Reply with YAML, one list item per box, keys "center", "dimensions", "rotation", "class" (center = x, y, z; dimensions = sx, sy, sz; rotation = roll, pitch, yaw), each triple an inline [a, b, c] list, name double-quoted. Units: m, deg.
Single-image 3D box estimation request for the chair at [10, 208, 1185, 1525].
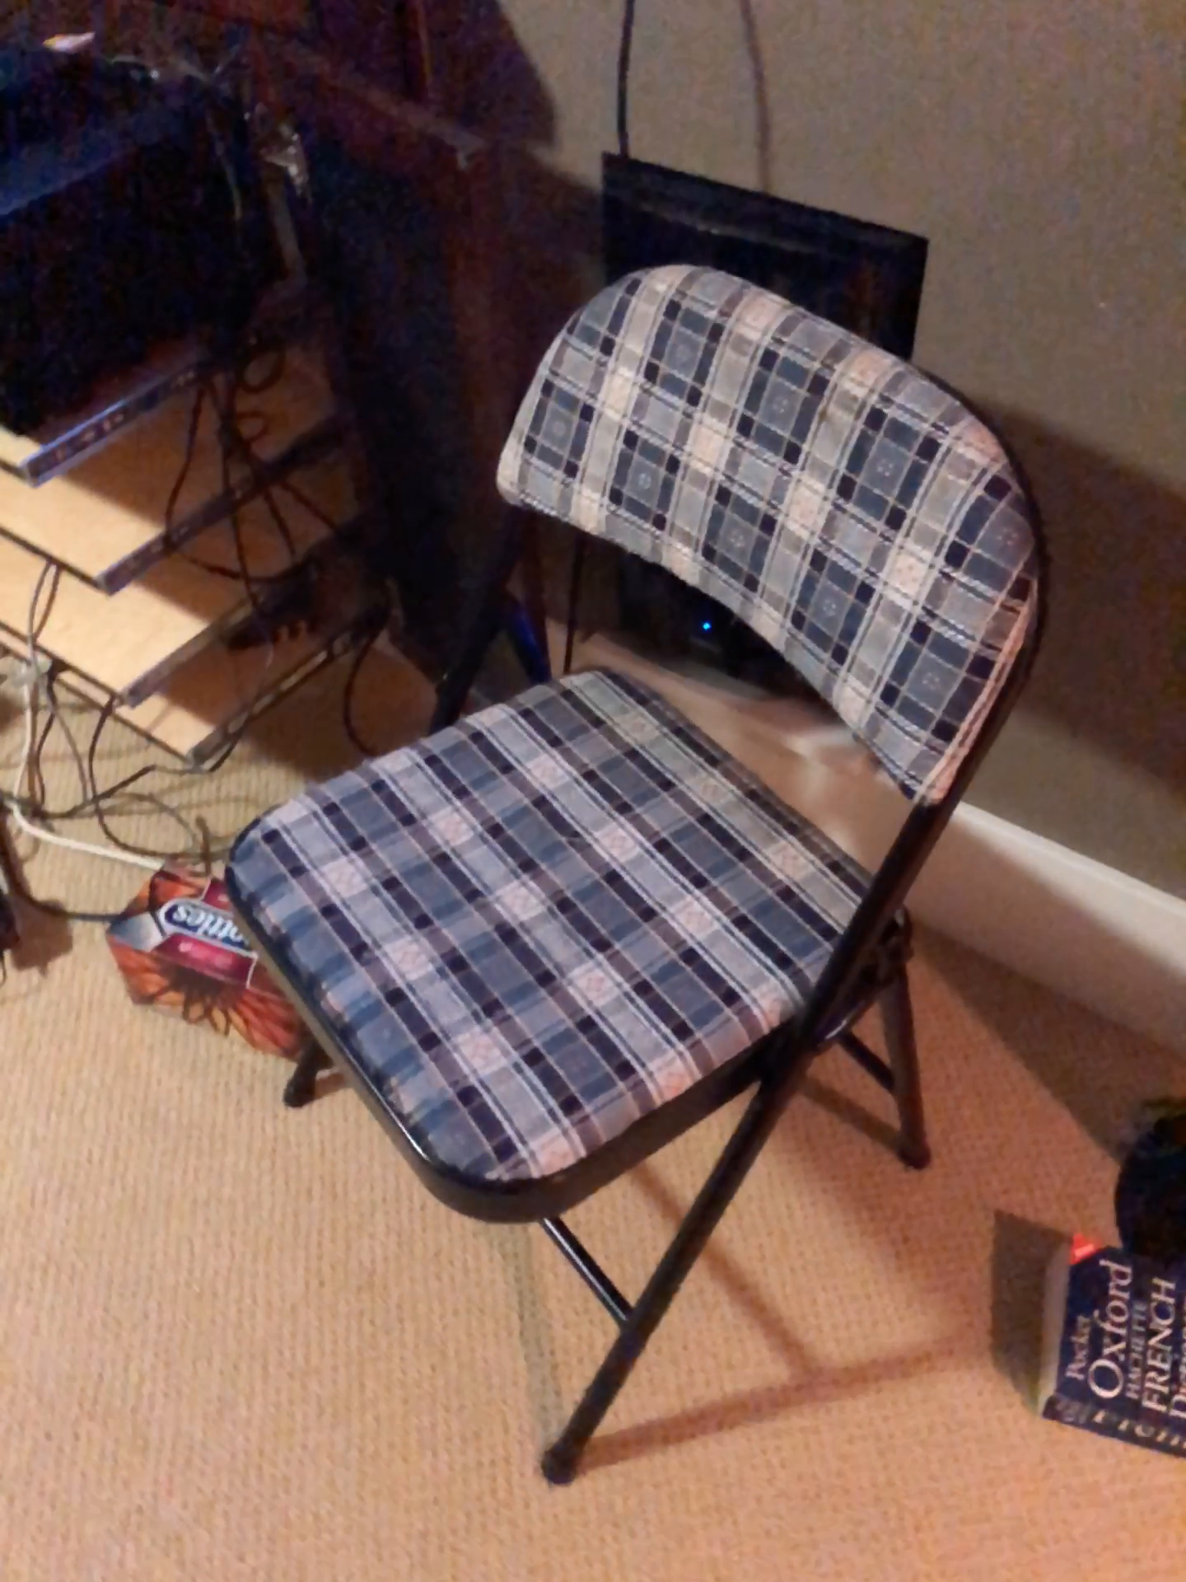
- center: [0.029, 0.060, 1.008]
  dimensions: [0.561, 0.705, 0.502]
  rotation: [-28, 51, -22]
  class: "chair"
